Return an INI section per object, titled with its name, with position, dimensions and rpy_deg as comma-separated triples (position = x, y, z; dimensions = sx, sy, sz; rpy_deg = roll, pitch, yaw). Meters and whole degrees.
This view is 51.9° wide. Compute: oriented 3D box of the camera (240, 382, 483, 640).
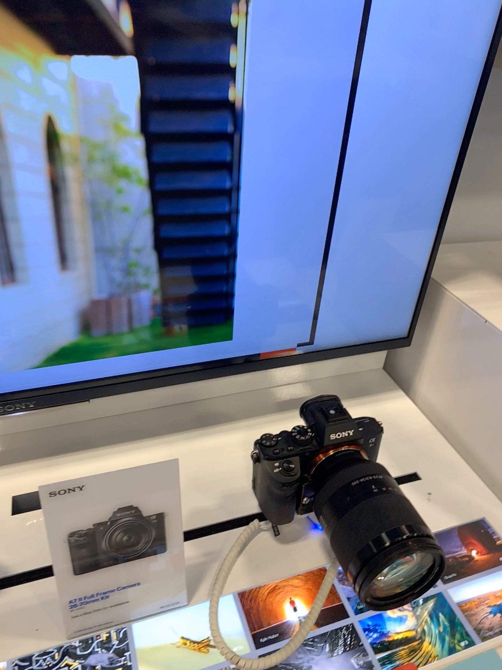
[camera]
position = 0.087, 0.151, 0.489
dimensions = 0.140, 0.099, 0.181
rpy_deg = -9, 36, -18
